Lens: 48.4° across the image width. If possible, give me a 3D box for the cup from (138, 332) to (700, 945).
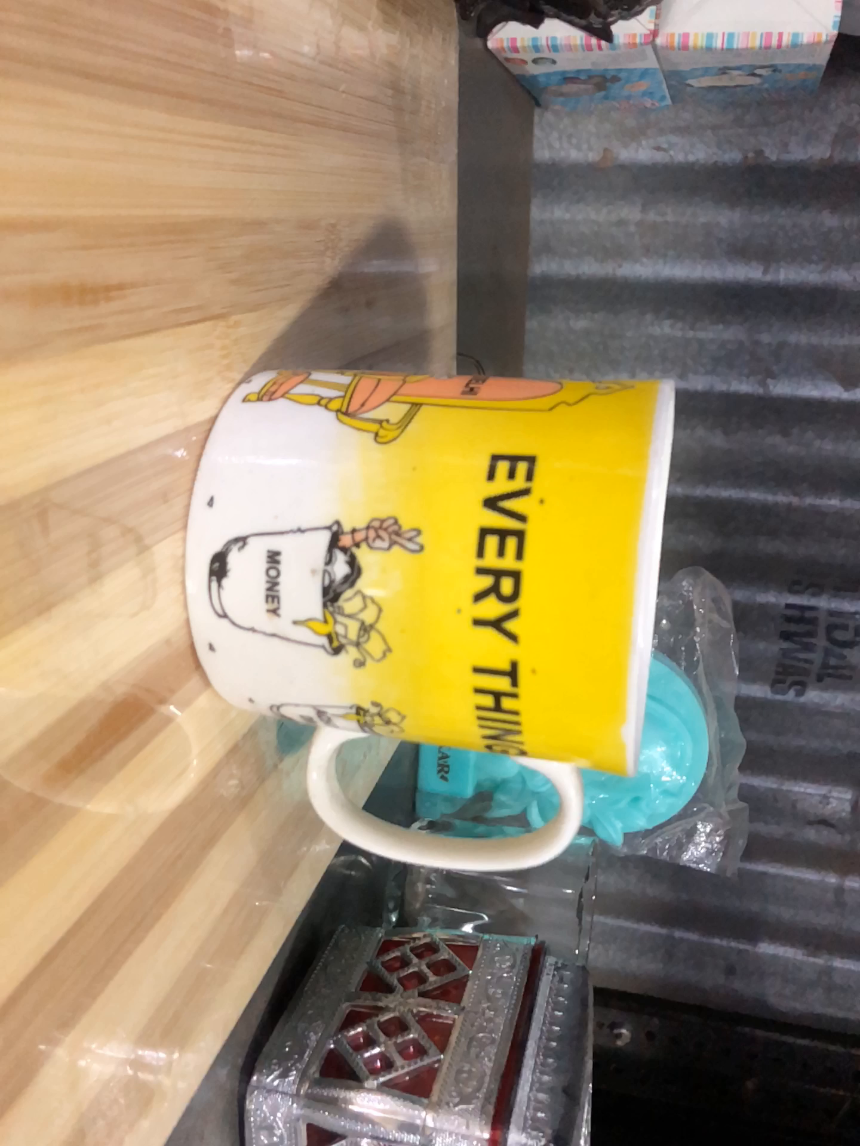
[{"bbox_3d":[0.005,0.010,0.220,0.070,0.100,0.110,-62,154,-60],"label":"cup"}]
